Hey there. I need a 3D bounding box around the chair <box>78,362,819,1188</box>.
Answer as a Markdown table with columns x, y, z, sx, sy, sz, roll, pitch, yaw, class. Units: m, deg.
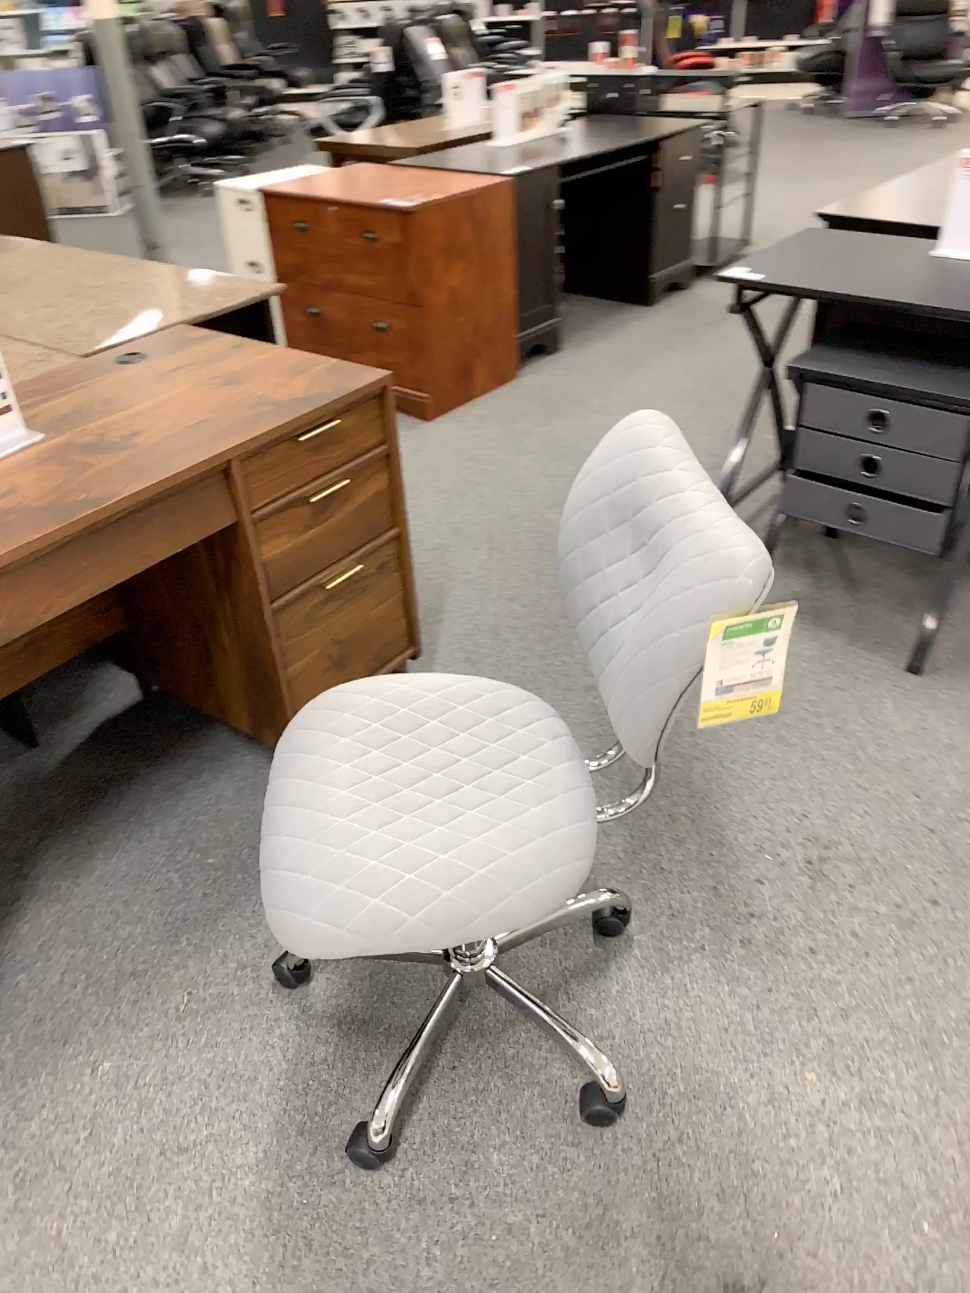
| x | y | z | sx | sy | sz | roll | pitch | yaw | class |
| --- | --- | --- | --- | --- | --- | --- | --- | --- | --- |
| -0.033 | 0.167 | 1.357 | 0.640 | 0.875 | 0.634 | -5 | 35 | -2 | chair |
